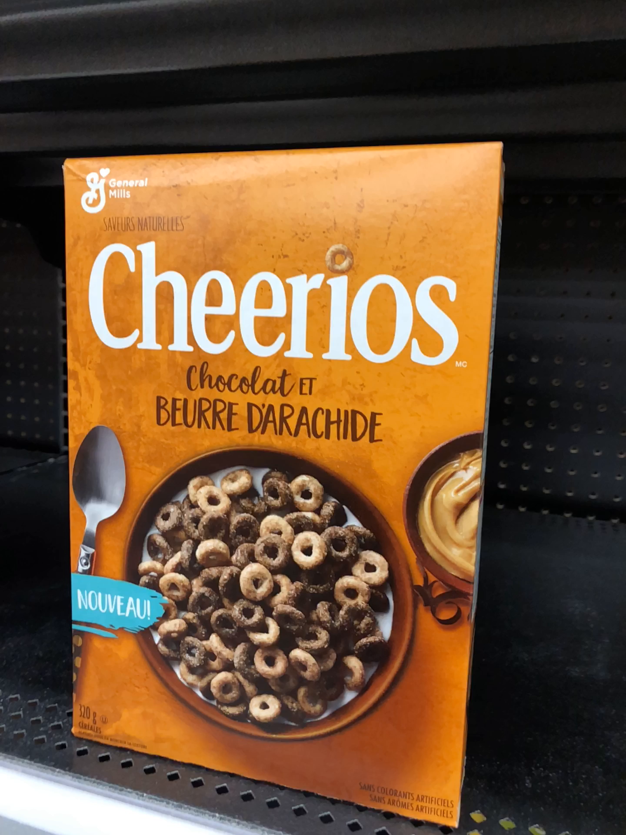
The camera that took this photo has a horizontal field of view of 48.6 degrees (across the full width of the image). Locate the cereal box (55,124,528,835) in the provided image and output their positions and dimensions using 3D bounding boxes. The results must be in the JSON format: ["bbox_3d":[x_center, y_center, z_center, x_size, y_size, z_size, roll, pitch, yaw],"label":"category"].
[{"bbox_3d":[-0.015,0.025,0.327,0.200,0.289,0.060,5,9,16],"label":"cereal box"}]
